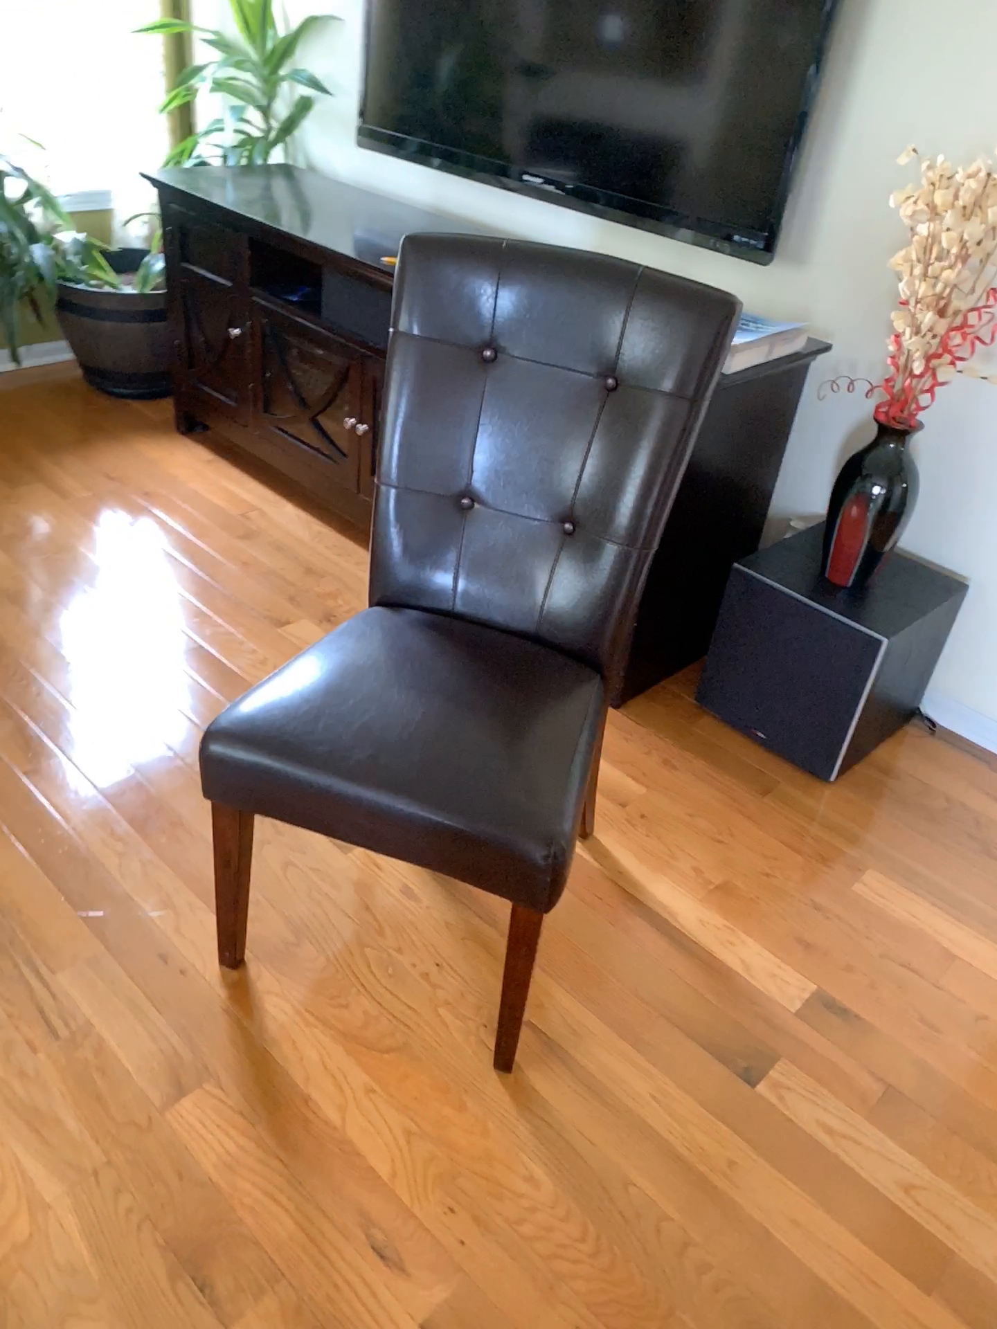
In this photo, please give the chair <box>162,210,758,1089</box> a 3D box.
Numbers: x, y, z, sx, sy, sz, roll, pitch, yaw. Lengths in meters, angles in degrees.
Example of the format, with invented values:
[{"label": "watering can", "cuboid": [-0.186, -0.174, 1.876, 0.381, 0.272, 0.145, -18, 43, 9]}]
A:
[{"label": "chair", "cuboid": [-0.031, -0.051, 1.487, 0.497, 0.968, 0.707, 16, 35, 12]}]
